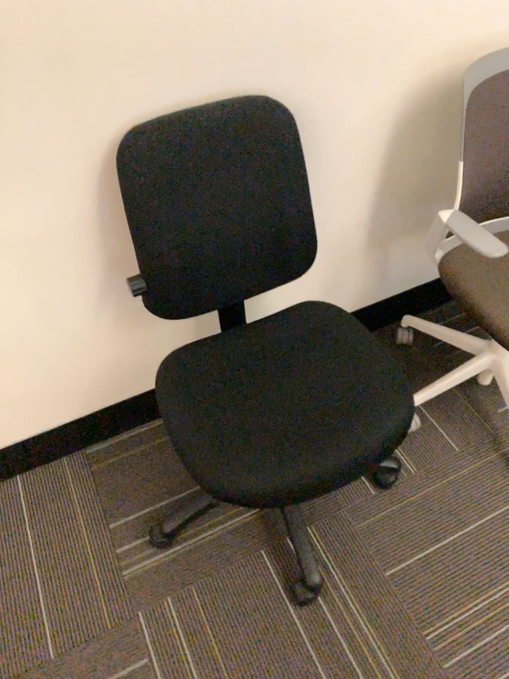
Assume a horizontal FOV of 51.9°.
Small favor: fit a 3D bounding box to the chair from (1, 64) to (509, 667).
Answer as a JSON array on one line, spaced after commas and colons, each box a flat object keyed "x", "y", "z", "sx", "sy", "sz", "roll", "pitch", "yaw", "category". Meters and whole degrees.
[{"x": 0.017, "y": 0.084, "z": 1.207, "sx": 0.680, "sy": 0.995, "sz": 0.744, "roll": -22, "pitch": 50, "yaw": -16, "category": "chair"}]
